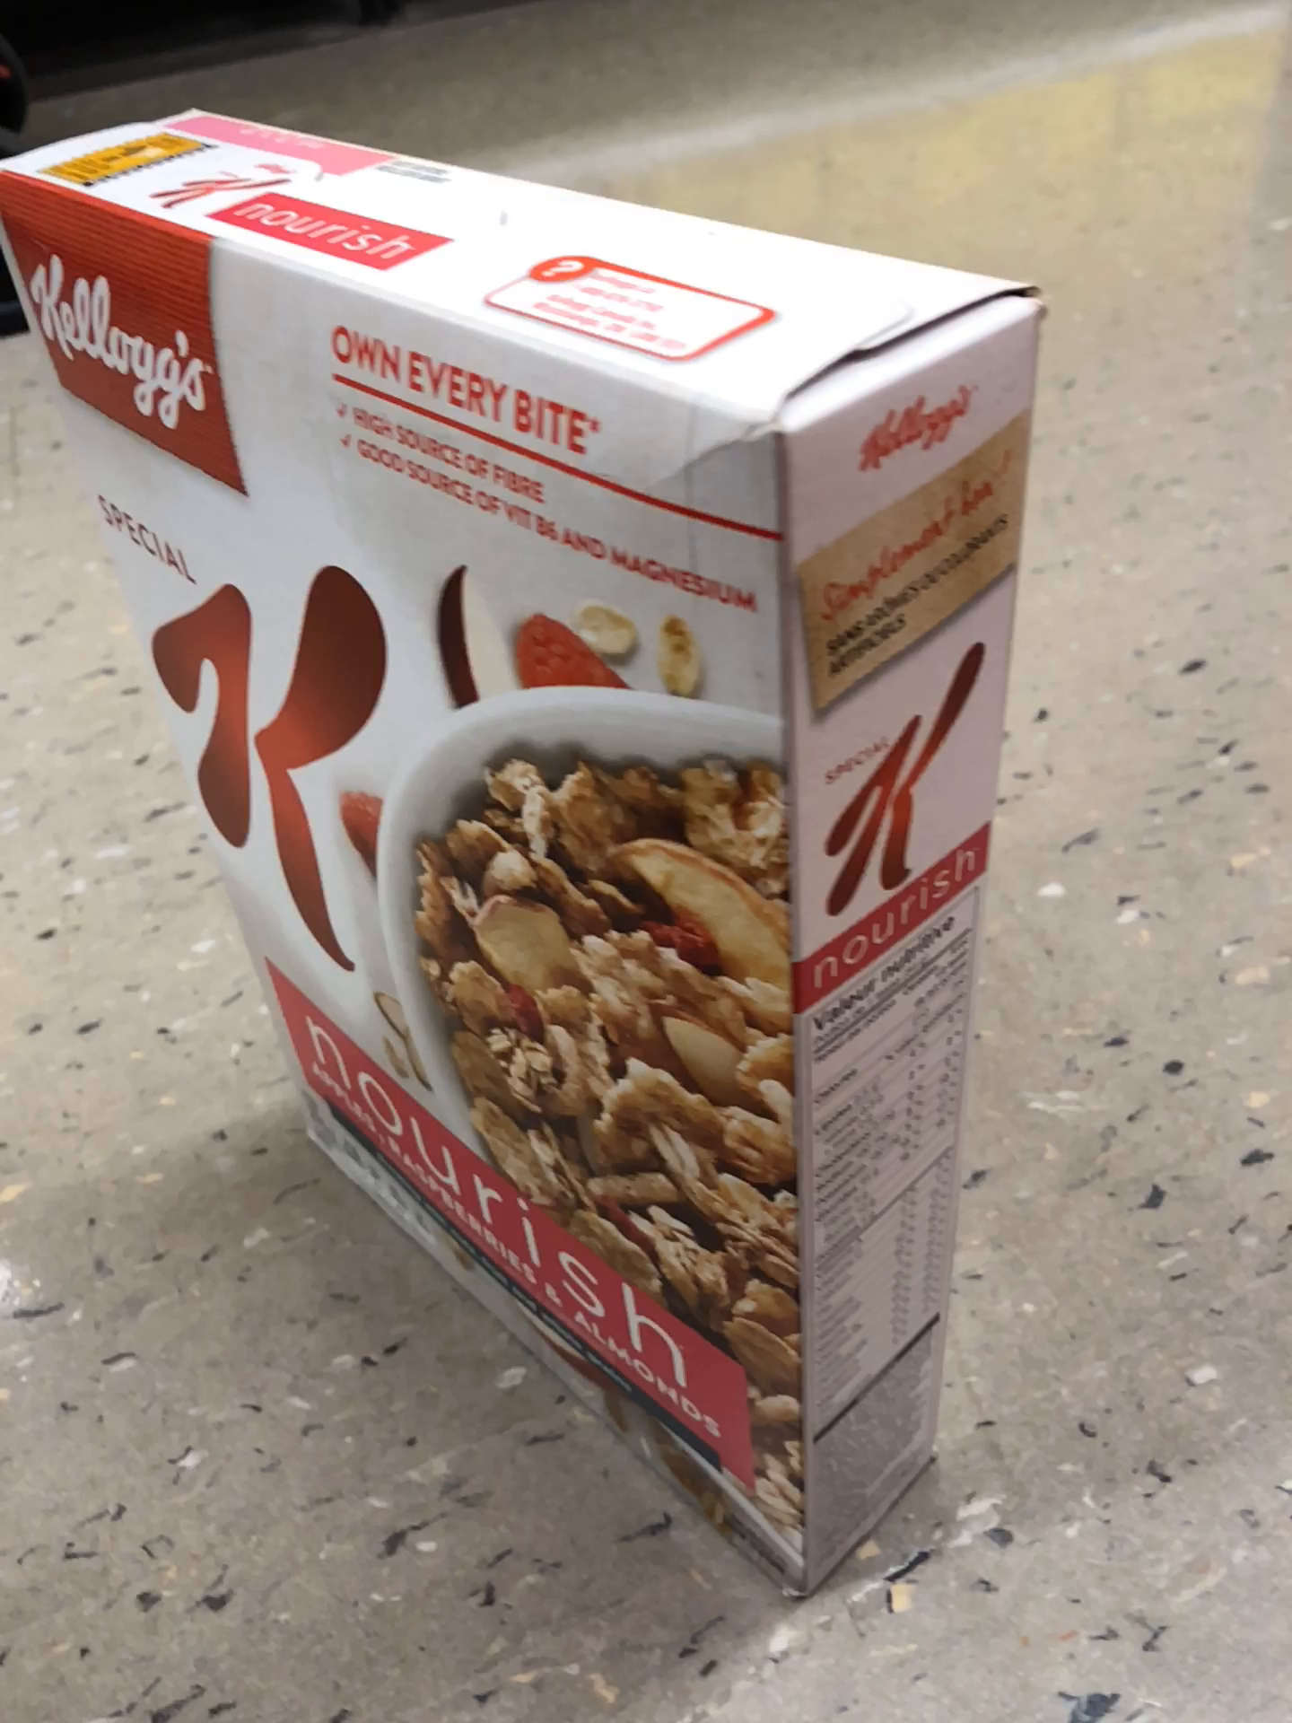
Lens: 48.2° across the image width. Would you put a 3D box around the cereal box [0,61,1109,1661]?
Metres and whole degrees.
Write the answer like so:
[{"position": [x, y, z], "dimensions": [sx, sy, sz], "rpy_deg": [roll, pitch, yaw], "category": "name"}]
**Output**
[{"position": [-0.026, 0.011, 0.299], "dimensions": [0.050, 0.289, 0.211], "rpy_deg": [-35, 48, -29], "category": "cereal box"}]
